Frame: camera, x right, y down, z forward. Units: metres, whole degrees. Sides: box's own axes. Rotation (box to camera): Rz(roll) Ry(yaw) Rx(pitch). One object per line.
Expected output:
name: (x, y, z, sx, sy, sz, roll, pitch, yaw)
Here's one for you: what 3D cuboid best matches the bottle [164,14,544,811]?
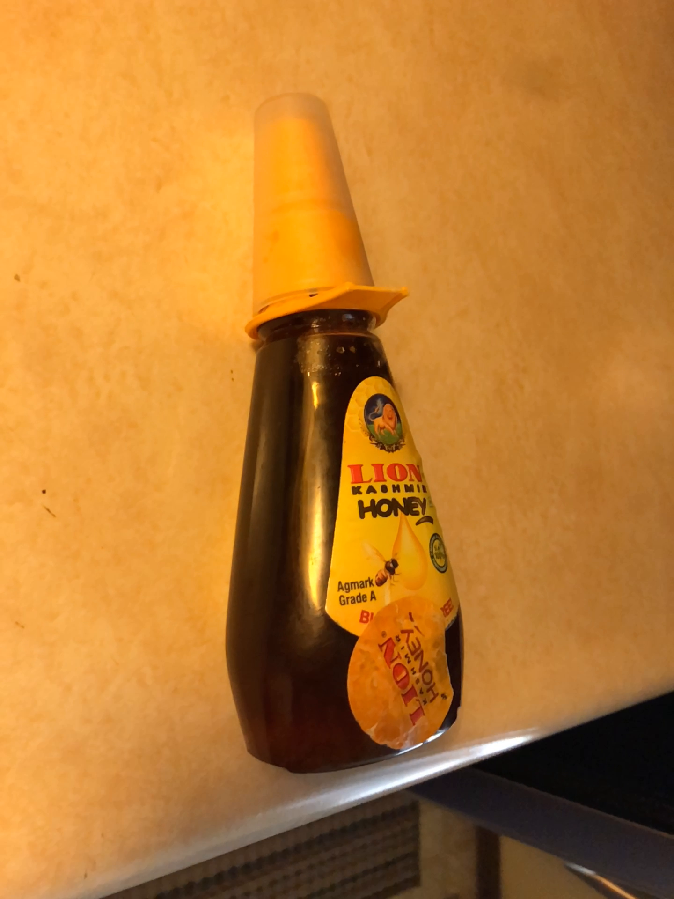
bottle: (0.007, -0.010, 0.228, 0.090, 0.050, 0.190, -2, 87, -41)
